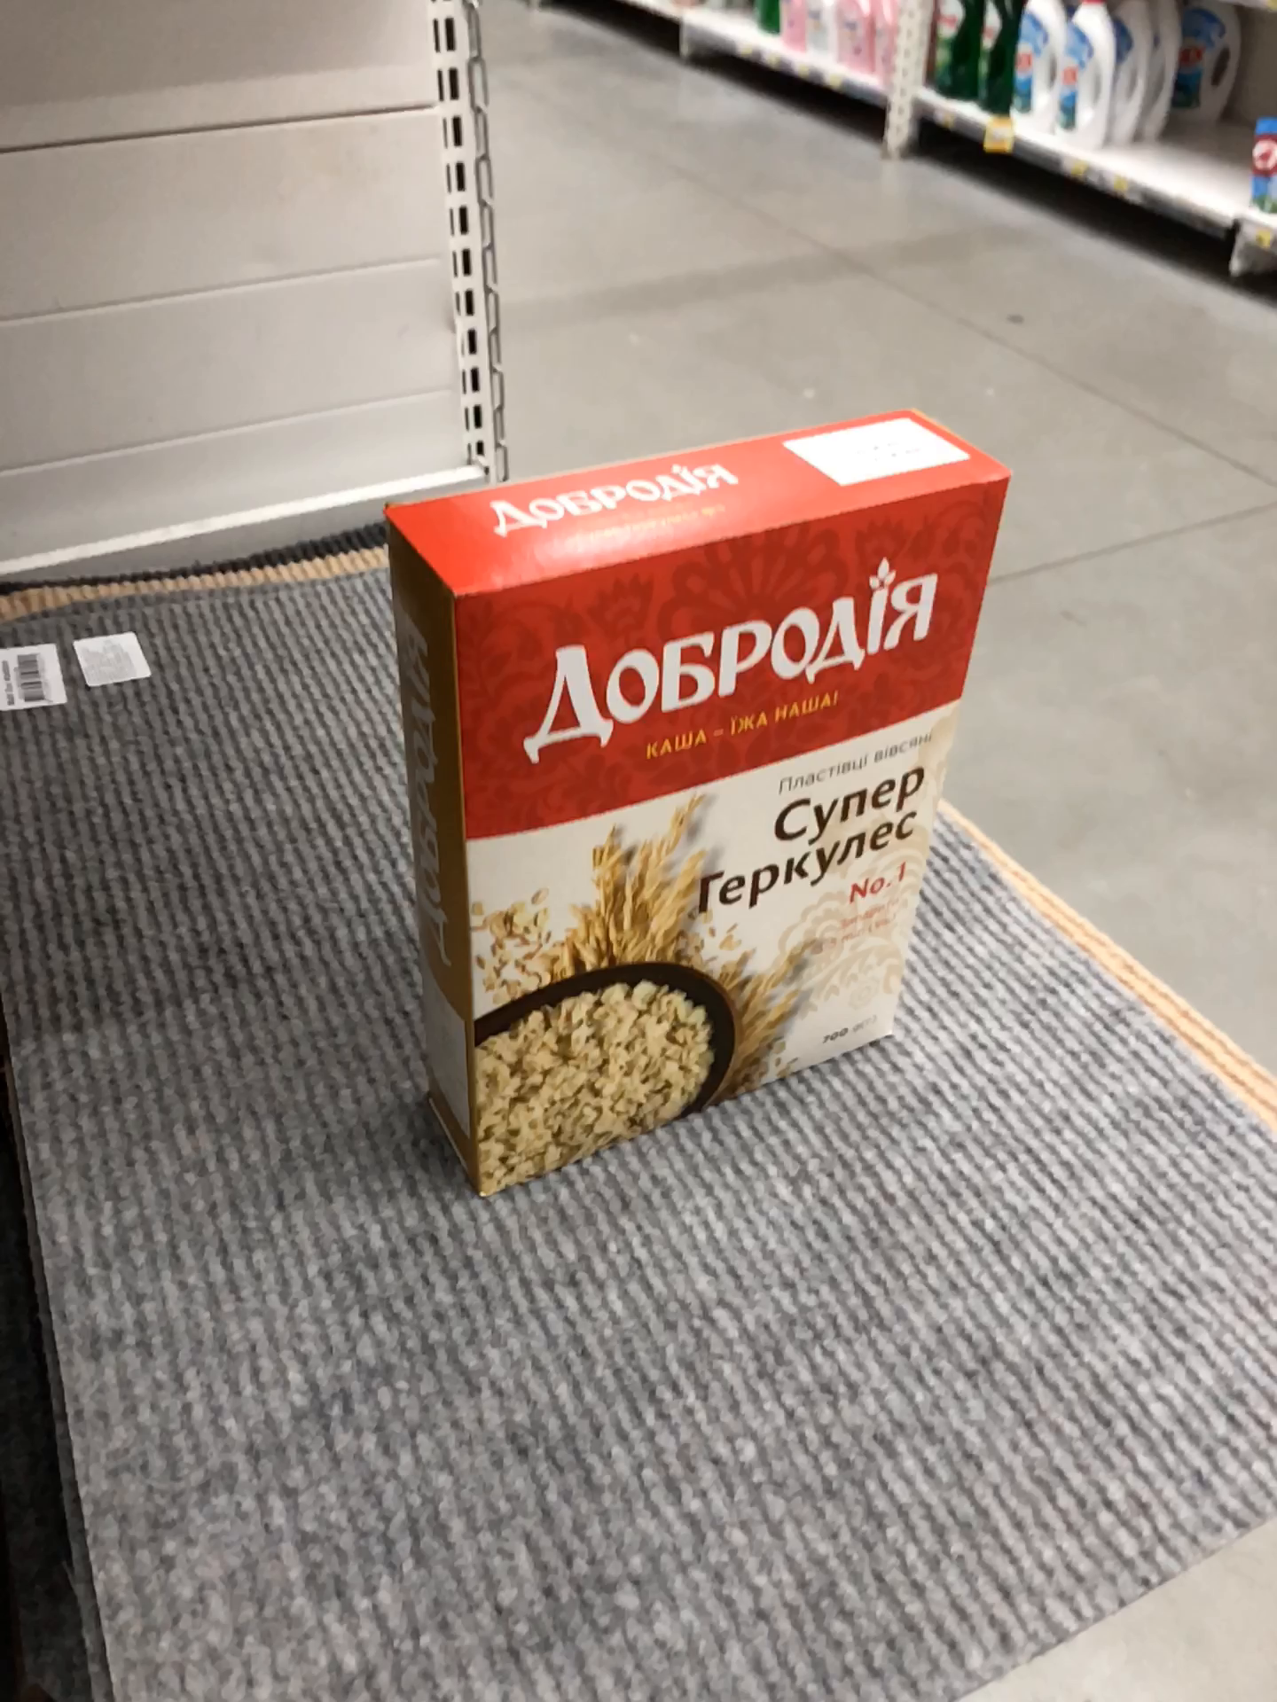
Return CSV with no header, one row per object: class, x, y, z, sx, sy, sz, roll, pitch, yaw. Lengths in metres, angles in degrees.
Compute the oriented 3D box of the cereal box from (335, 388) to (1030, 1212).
cereal box,0.012,-0.011,0.449,0.180,0.228,0.060,-17,43,-22
